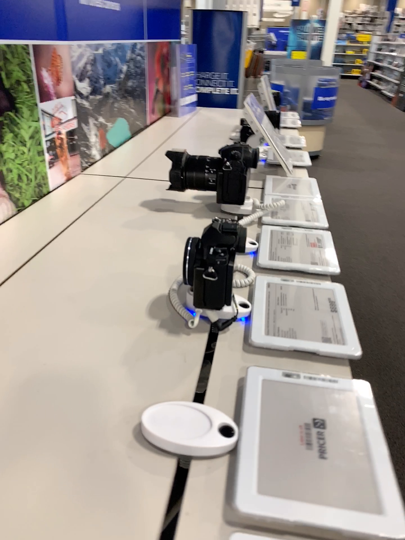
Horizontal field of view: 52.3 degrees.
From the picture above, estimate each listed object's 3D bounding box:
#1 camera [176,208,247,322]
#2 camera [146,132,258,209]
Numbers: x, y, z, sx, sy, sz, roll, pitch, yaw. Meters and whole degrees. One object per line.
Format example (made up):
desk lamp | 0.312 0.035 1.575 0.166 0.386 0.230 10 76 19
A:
camera | 0.014 -0.012 0.503 0.070 0.079 0.131 5 30 5
camera | 0.004 -0.201 0.817 0.200 0.099 0.141 5 30 5
